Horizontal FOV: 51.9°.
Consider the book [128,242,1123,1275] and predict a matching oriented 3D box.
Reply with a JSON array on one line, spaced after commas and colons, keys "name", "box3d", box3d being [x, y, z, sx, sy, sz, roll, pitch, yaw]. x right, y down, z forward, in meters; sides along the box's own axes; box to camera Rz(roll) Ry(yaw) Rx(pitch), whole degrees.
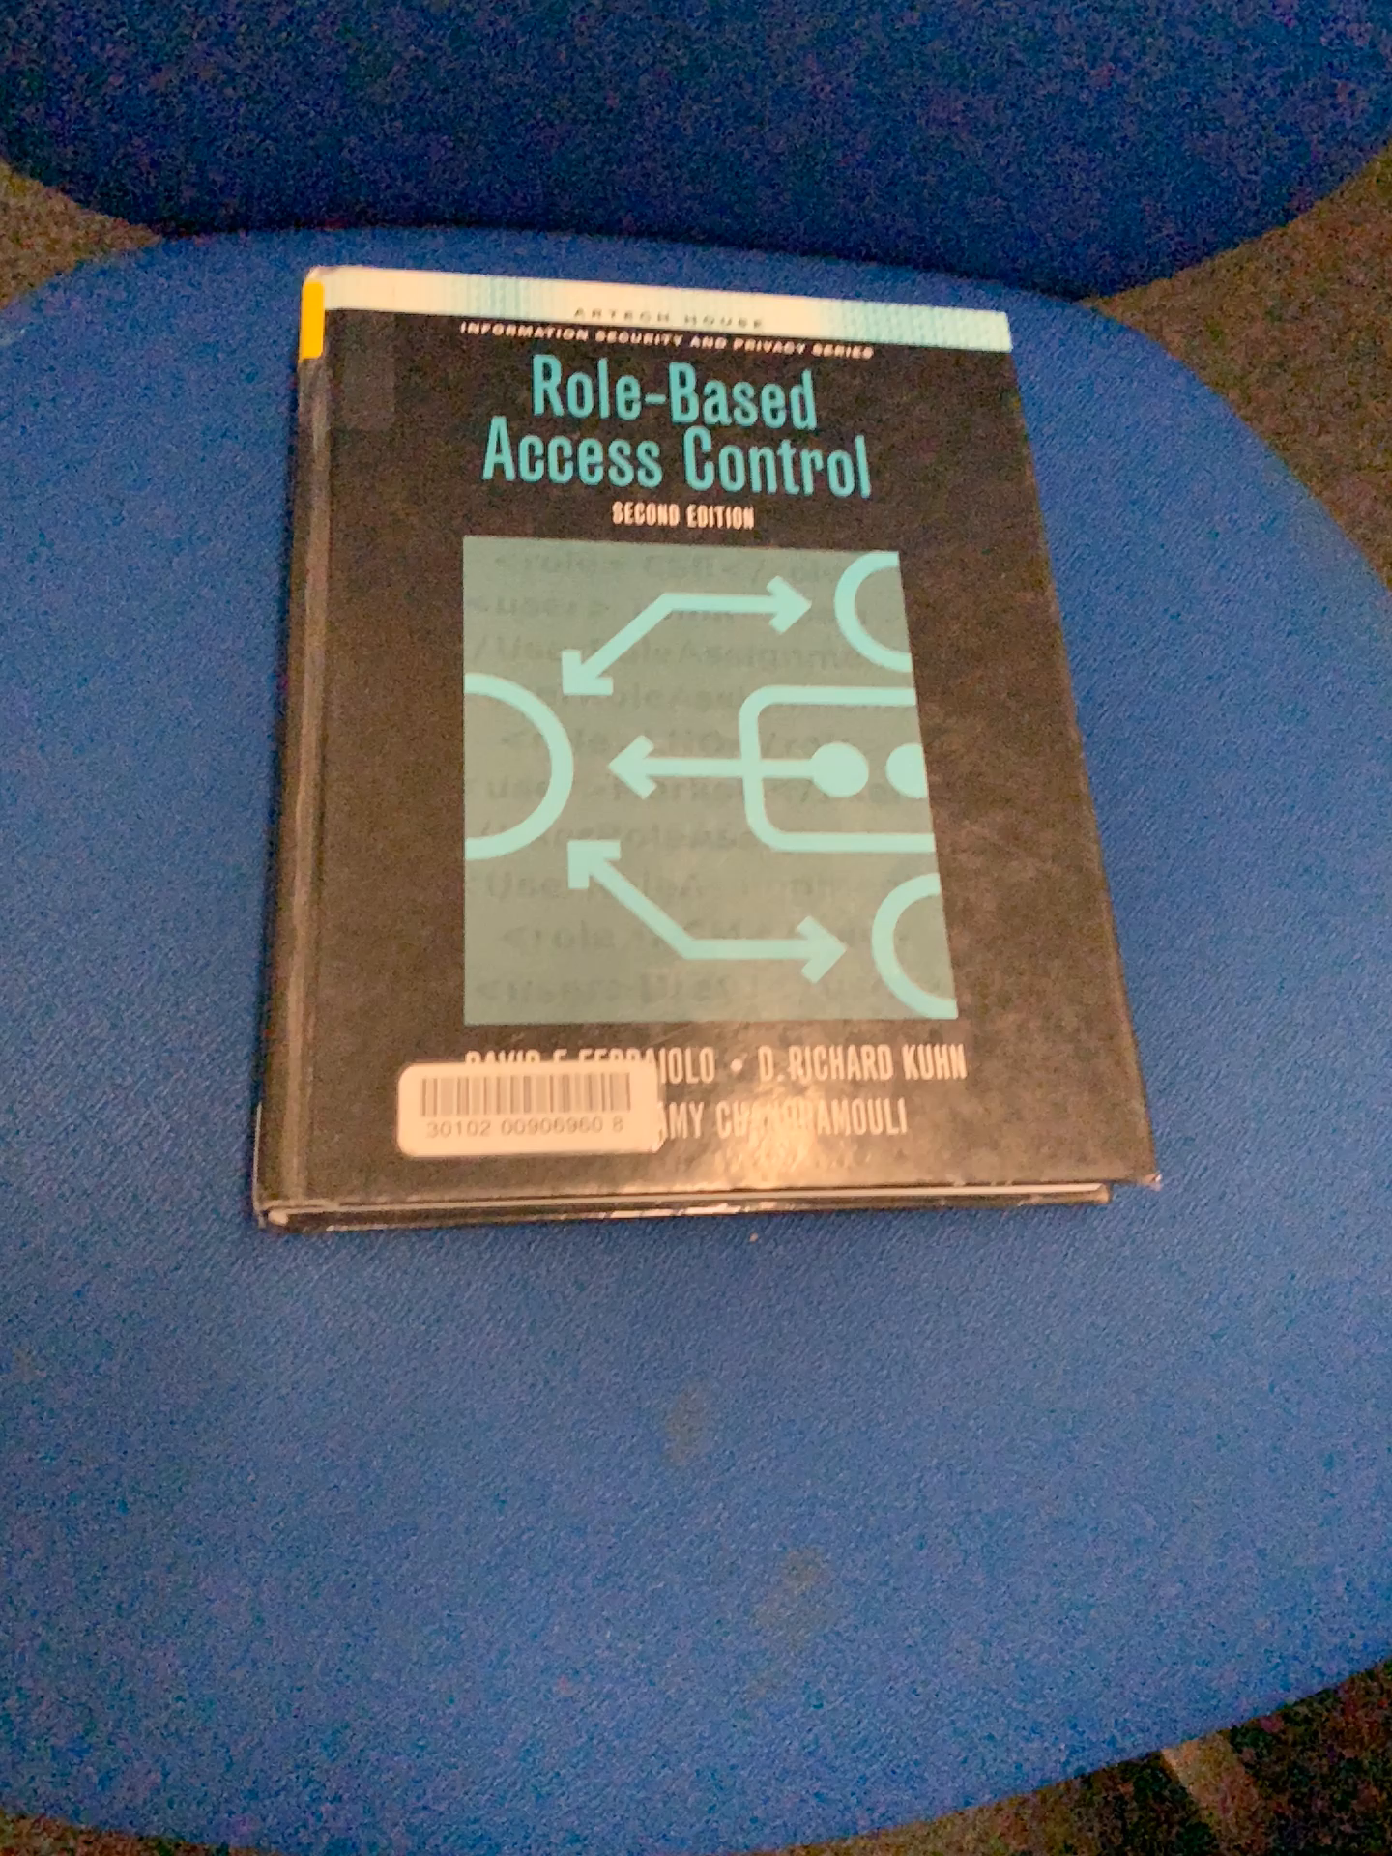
[{"name": "book", "box3d": [-0.017, -0.048, 0.329, 0.189, 0.030, 0.241, 0, 68, -9]}]
